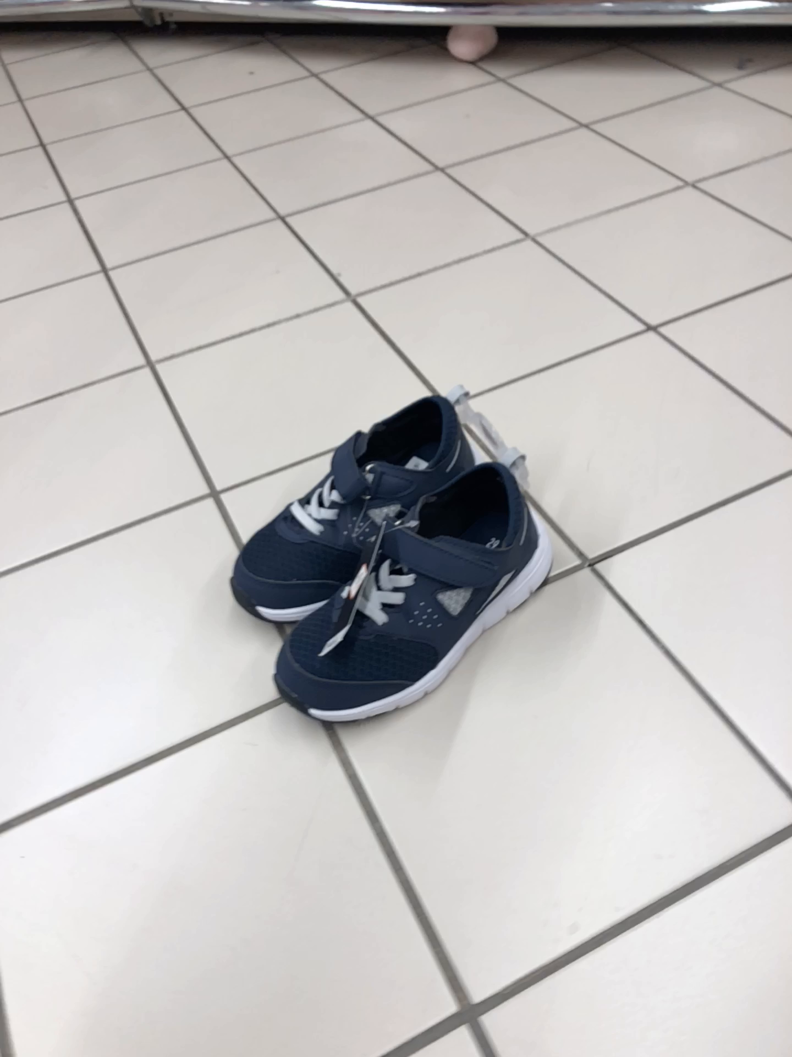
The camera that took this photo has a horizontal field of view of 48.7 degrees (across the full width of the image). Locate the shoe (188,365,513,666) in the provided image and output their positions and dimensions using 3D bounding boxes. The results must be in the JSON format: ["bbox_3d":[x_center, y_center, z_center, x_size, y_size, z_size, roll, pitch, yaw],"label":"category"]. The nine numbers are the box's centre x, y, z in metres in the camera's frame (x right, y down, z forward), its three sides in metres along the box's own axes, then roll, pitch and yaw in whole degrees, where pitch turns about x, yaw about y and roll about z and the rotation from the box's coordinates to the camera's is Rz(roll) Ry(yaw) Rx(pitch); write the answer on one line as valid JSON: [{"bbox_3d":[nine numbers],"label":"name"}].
[{"bbox_3d":[-0.022,-0.015,0.581,0.196,0.084,0.083,-33,50,-24],"label":"shoe"}]

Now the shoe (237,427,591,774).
[{"bbox_3d":[0.018,0.035,0.521,0.199,0.080,0.081,-36,51,-25],"label":"shoe"}]
